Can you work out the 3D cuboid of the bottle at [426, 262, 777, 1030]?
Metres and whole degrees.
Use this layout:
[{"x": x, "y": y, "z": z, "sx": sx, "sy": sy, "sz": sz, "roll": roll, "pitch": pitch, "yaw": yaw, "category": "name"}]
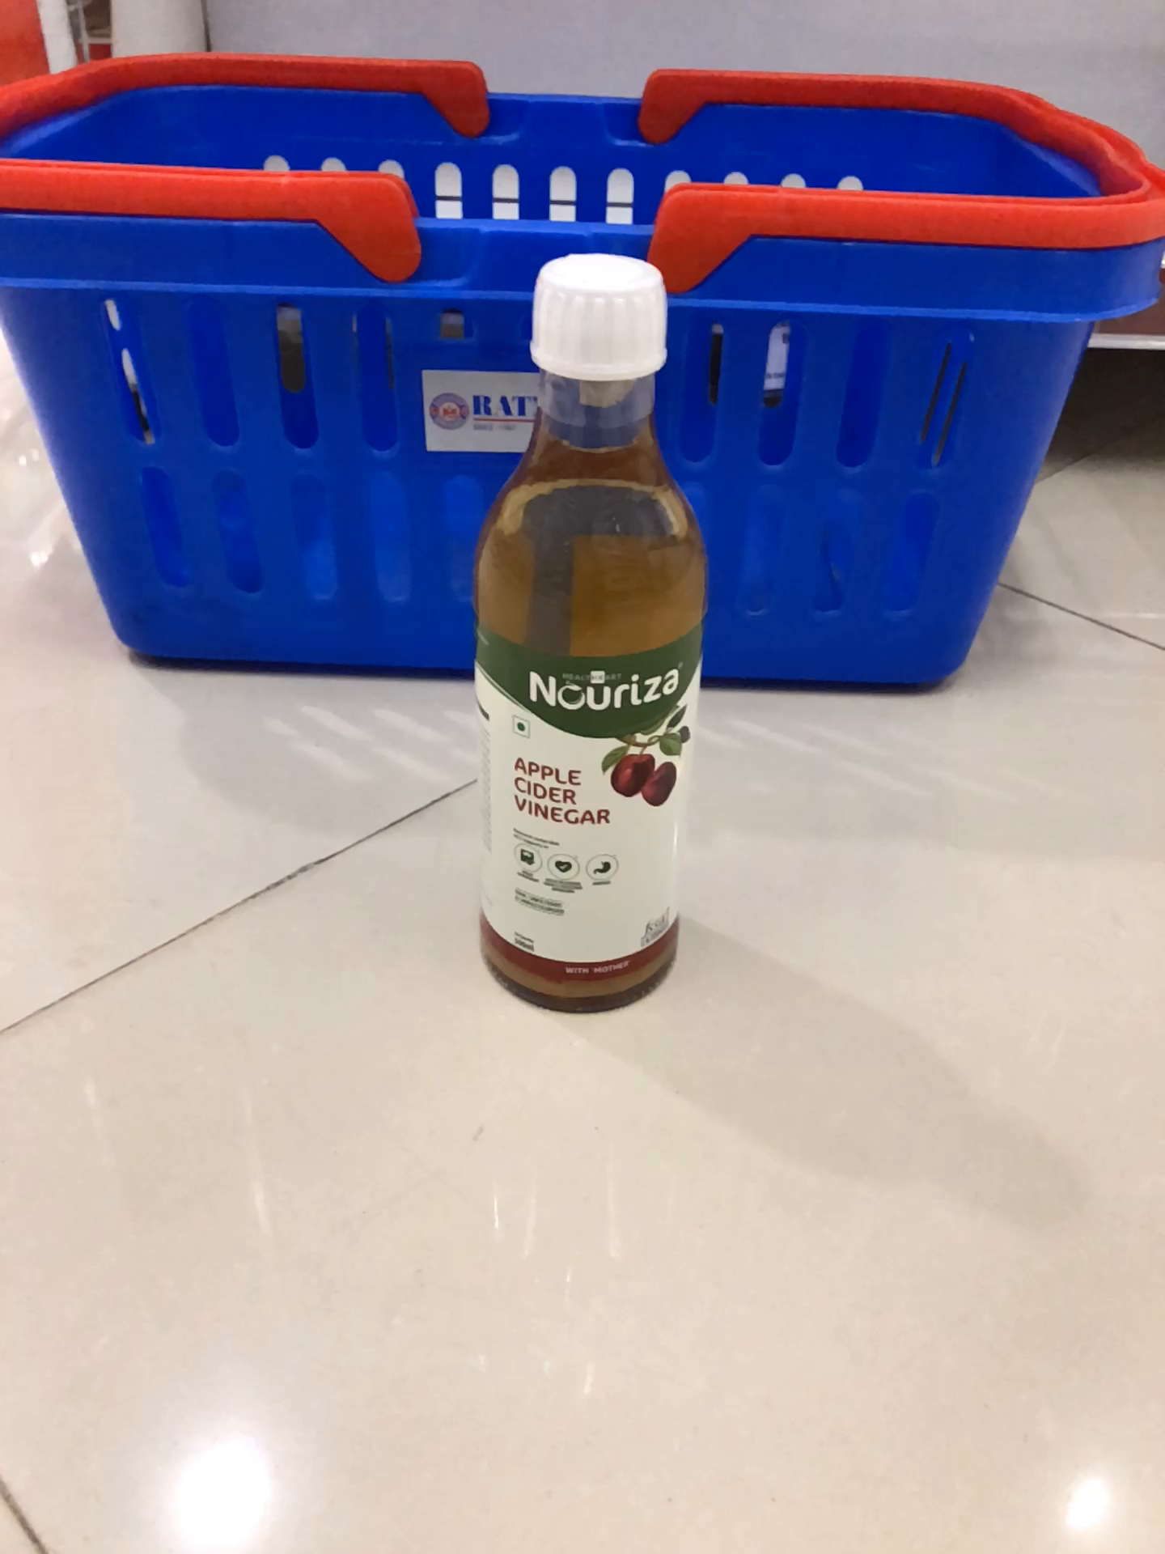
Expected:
[{"x": 0.002, "y": -0.029, "z": 0.383, "sx": 0.080, "sy": 0.219, "sz": 0.070, "roll": 1, "pitch": 34, "yaw": -1, "category": "bottle"}]
